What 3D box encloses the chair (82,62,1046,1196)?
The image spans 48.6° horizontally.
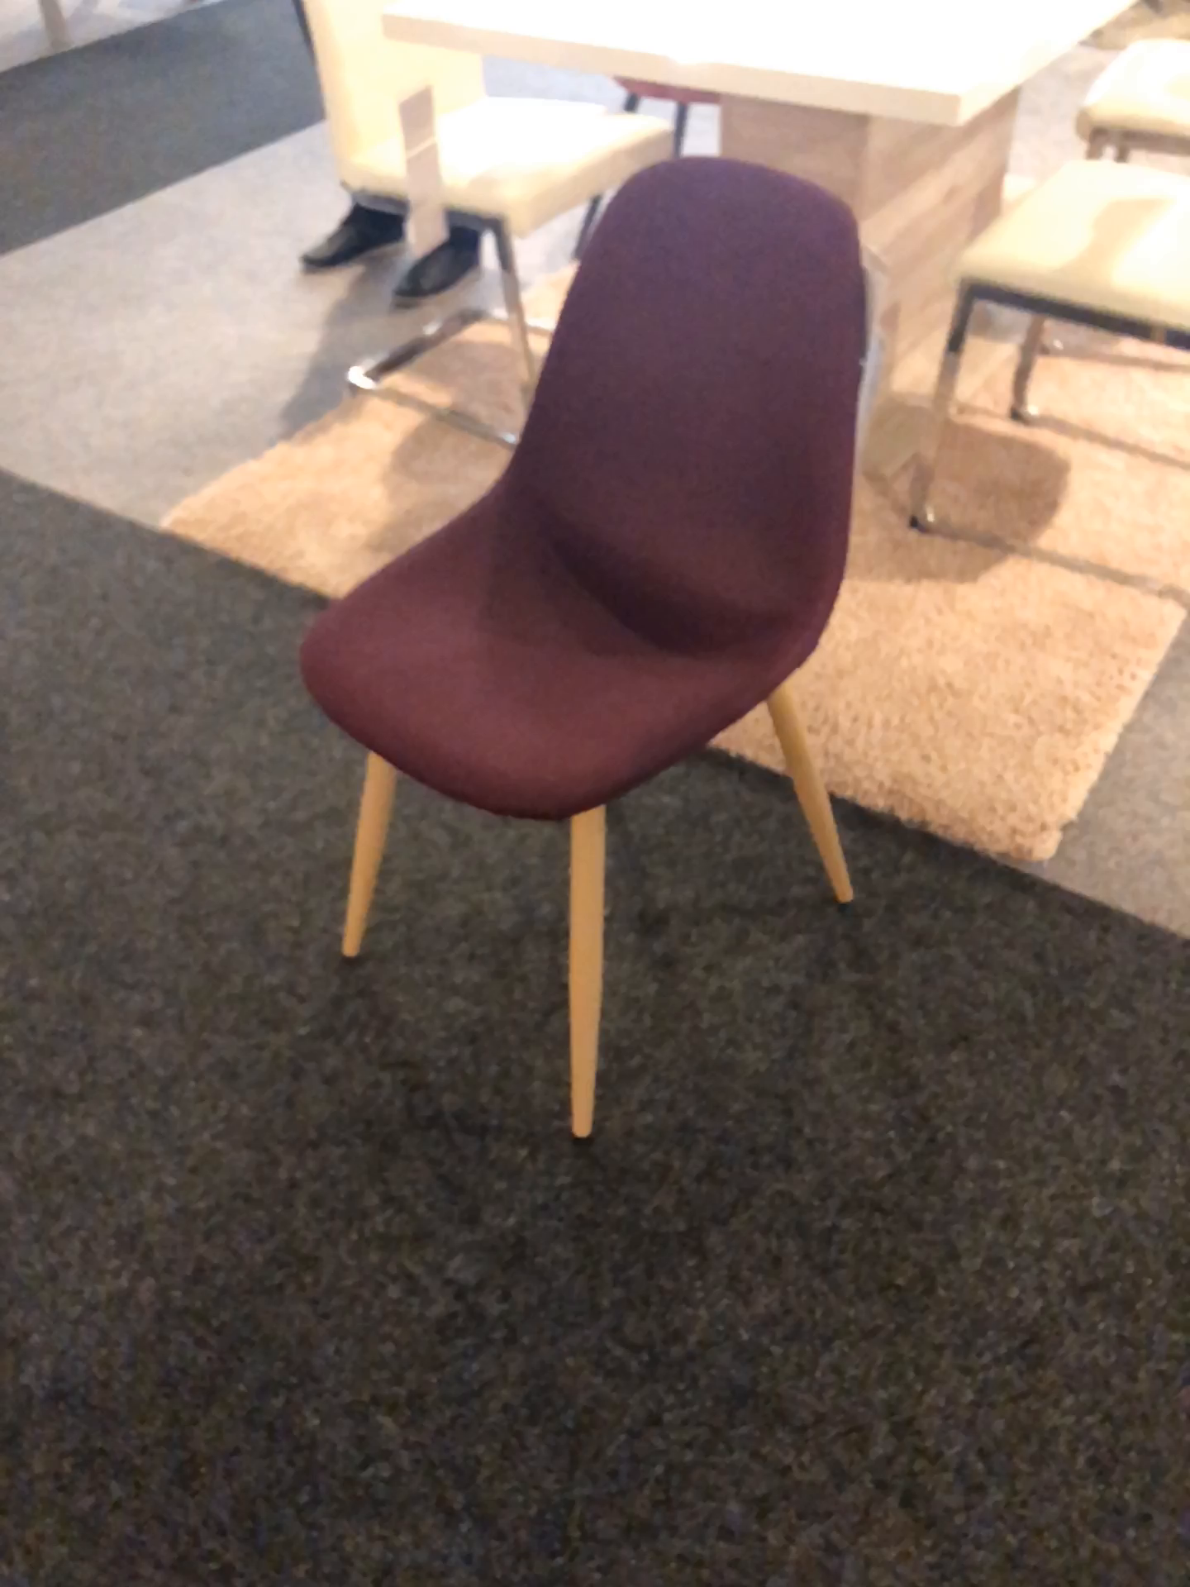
[{"bbox_3d":[0.006,-0.161,1.263,0.470,0.795,0.573,28,50,30],"label":"chair"}]
